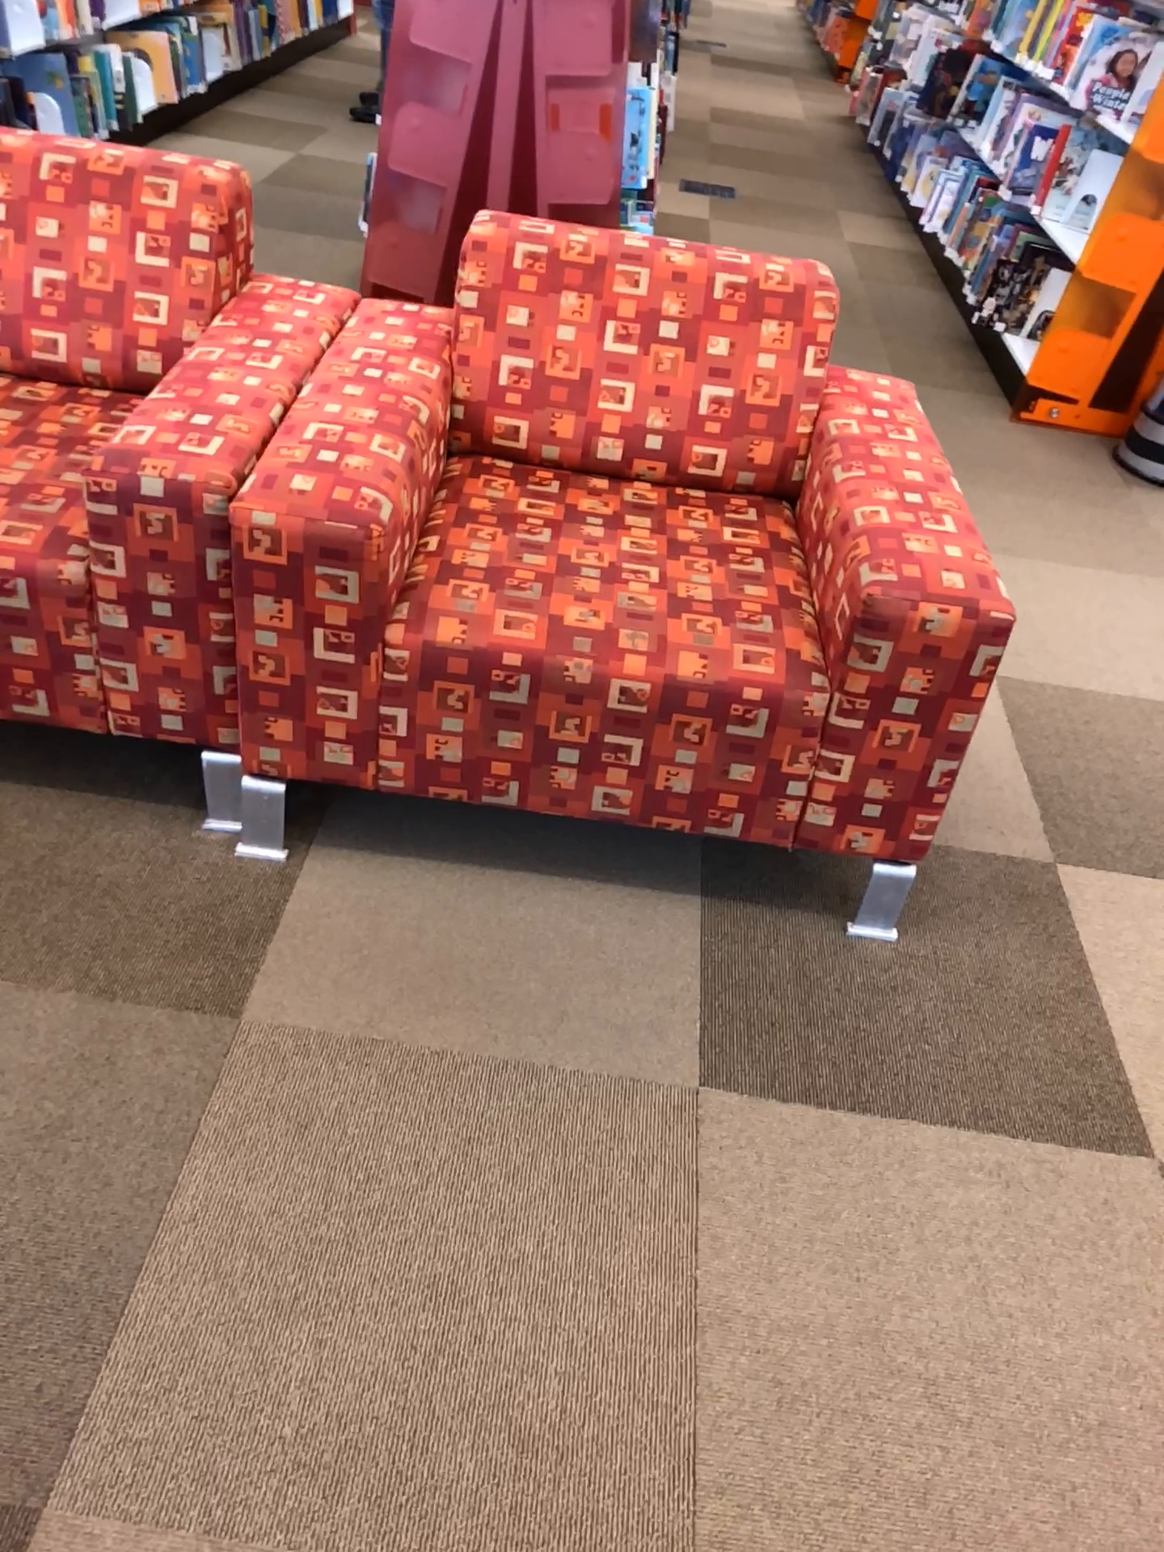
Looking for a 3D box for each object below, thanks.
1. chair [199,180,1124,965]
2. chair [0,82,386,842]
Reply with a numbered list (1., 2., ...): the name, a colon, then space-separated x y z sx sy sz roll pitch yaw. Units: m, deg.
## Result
1. chair: 0.075 -0.373 1.967 1.002 0.686 0.997 8 36 -2
2. chair: -0.865 -0.537 1.976 0.919 0.716 0.957 8 36 -2
